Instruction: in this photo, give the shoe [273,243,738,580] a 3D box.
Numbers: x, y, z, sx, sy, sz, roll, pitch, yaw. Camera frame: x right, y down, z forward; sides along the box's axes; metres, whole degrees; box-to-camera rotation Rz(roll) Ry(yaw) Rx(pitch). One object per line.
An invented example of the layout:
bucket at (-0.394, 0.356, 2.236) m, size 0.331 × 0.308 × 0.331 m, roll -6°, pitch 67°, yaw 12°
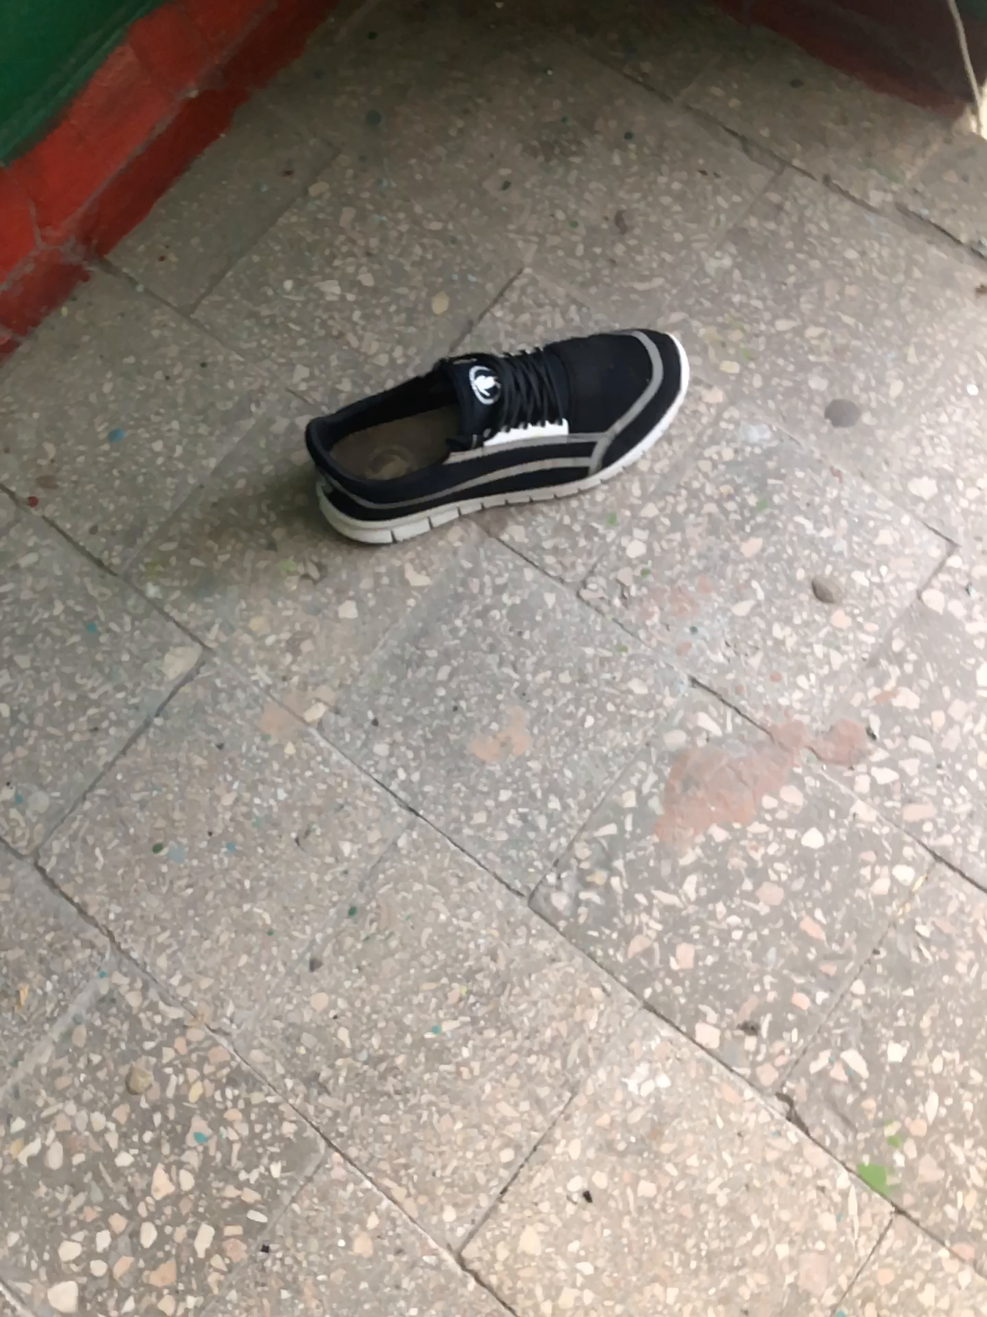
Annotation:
shoe at (0.010, -0.164, 0.753) m, size 0.280 × 0.120 × 0.100 m, roll -19°, pitch 74°, yaw 0°
